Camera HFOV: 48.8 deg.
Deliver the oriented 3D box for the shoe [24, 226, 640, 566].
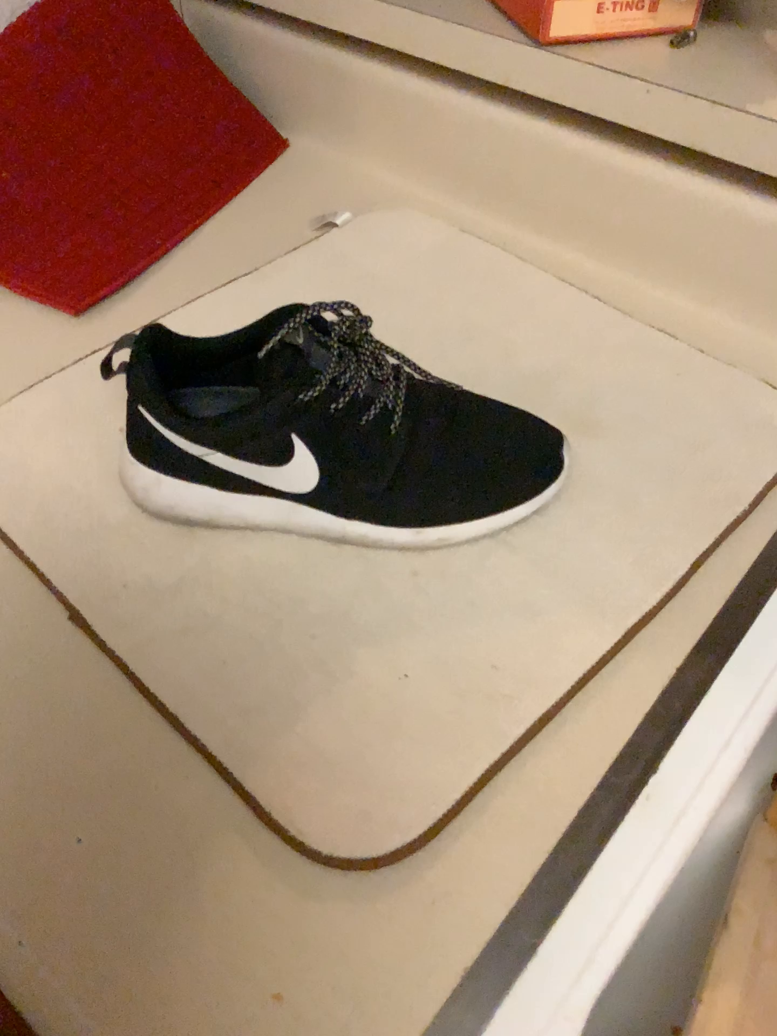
[{"bbox_3d":[-0.023,-0.068,0.474,0.280,0.120,0.130,3,50,3],"label":"shoe"}]
